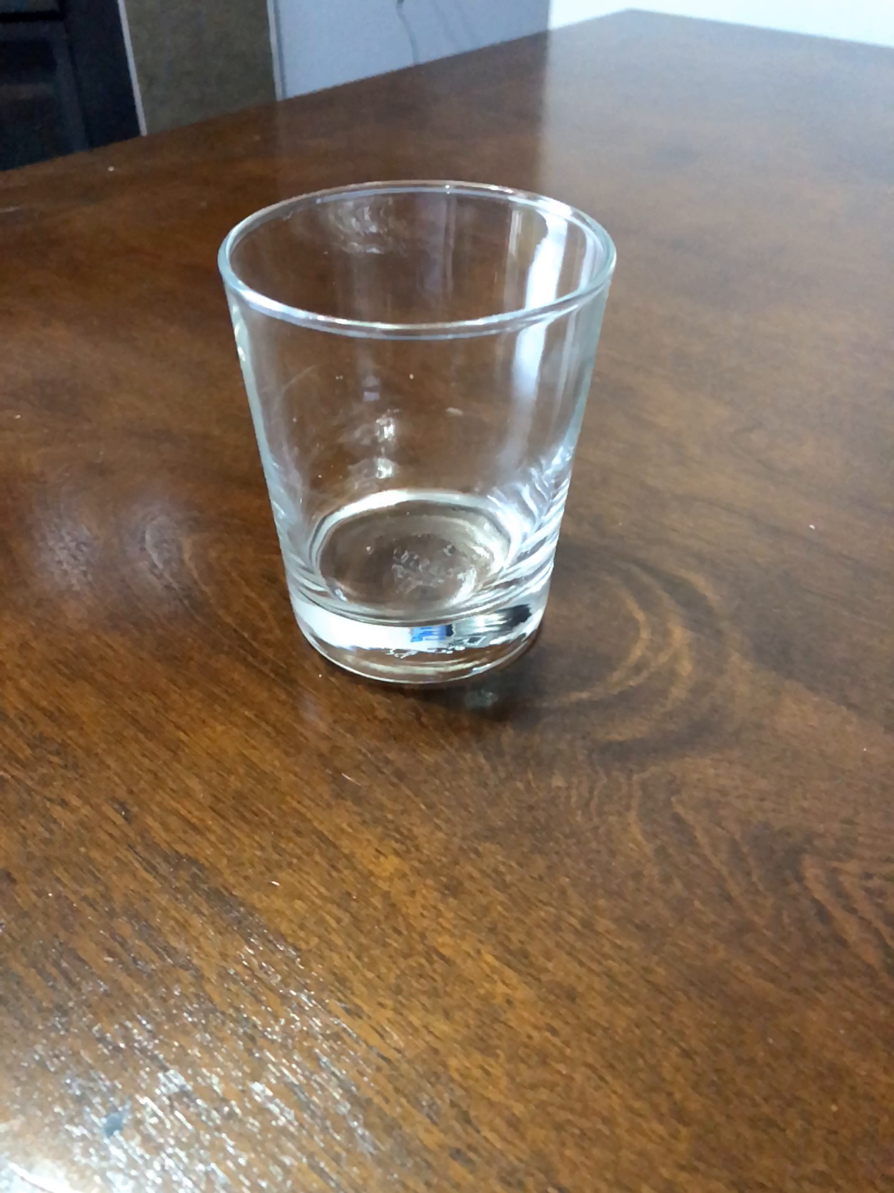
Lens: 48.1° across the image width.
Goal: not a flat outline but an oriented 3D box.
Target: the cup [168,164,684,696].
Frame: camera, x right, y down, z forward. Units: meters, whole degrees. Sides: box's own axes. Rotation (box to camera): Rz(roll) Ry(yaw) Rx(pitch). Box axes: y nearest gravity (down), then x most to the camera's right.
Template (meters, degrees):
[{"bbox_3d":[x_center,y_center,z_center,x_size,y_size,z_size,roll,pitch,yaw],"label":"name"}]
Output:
[{"bbox_3d":[-0.003,-0.041,0.238,0.090,0.090,0.090,1,39,0],"label":"cup"}]
